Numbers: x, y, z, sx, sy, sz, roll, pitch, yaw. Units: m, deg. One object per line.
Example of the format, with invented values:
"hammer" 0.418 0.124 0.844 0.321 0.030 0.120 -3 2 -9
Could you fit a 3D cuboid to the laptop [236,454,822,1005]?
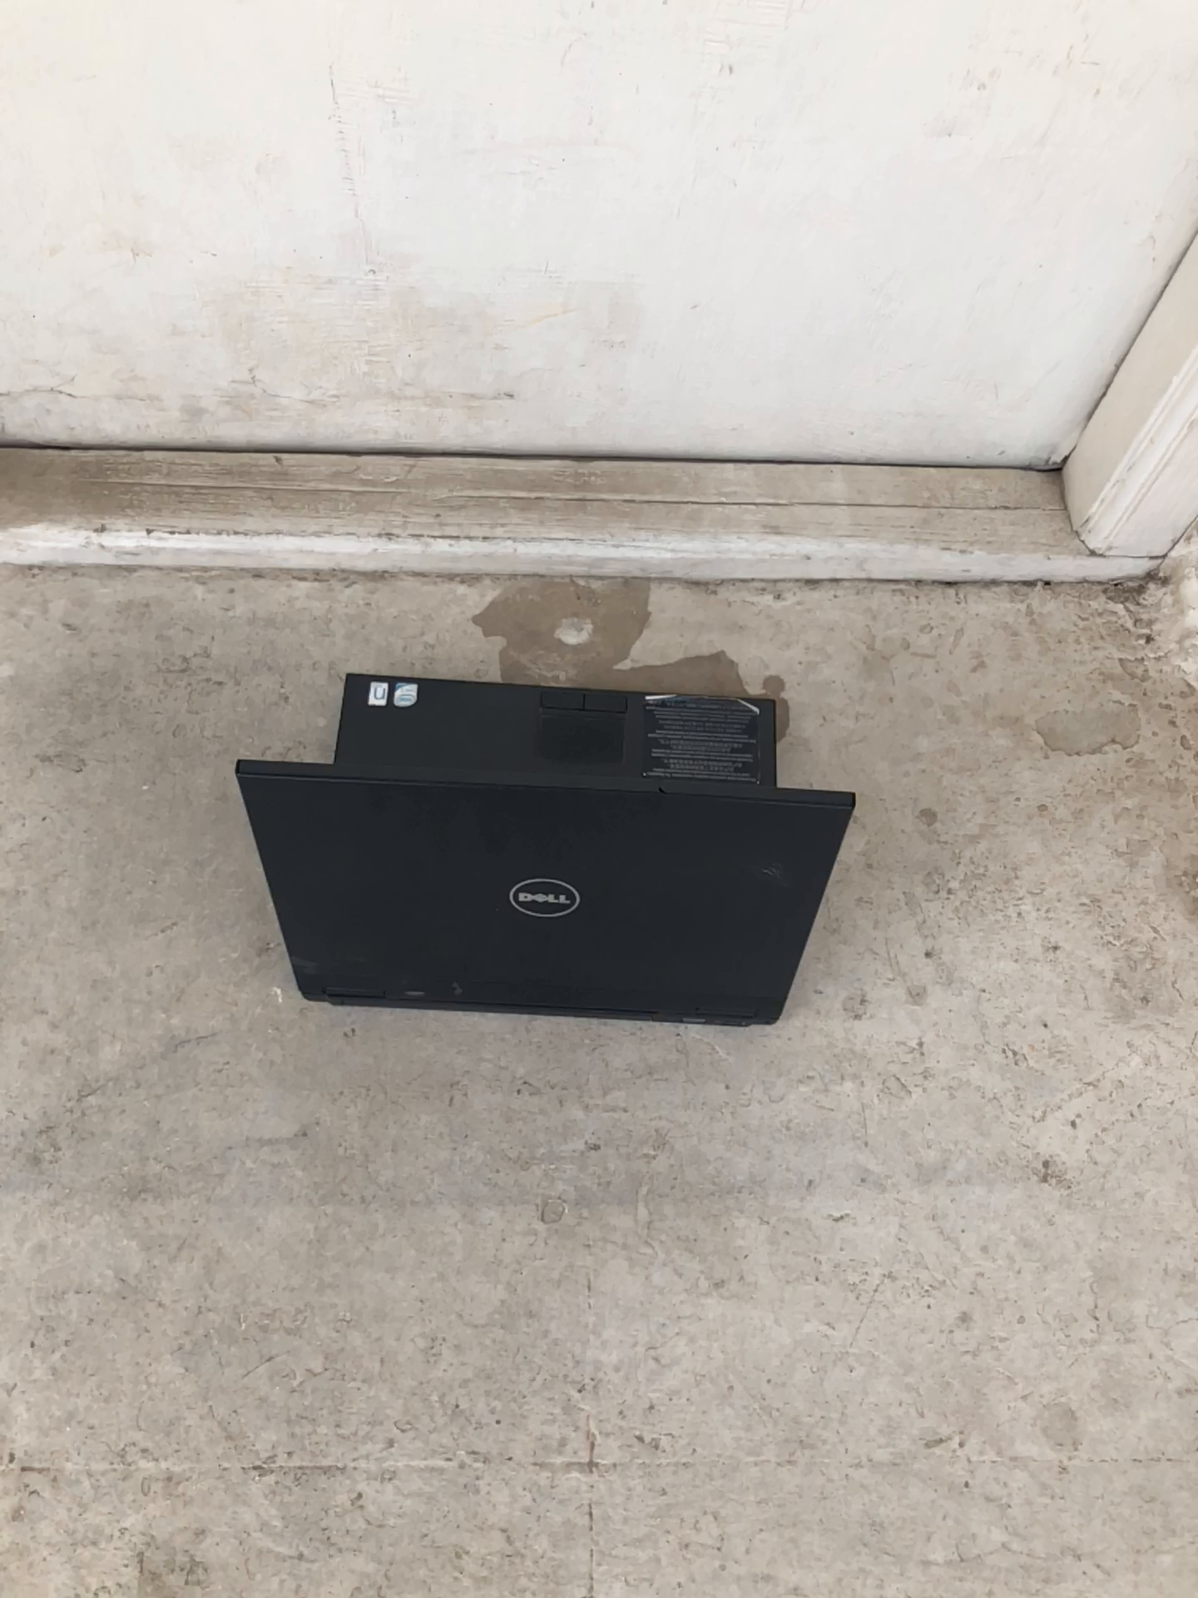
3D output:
"laptop" -0.032 -0.026 0.790 0.279 0.252 0.225 4 67 0
